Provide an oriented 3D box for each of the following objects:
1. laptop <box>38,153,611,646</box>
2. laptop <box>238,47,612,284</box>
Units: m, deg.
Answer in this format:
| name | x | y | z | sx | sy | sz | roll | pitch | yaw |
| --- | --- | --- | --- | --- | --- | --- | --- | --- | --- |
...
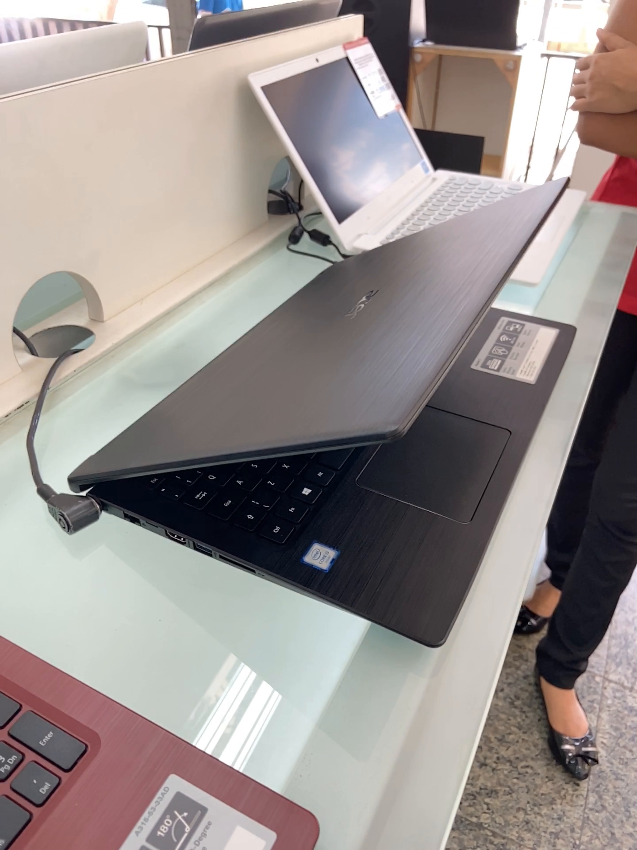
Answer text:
| name | x | y | z | sx | sy | sz | roll | pitch | yaw |
| --- | --- | --- | --- | --- | --- | --- | --- | --- | --- |
| laptop | 0.043 | -0.072 | 0.481 | 0.239 | 0.123 | 0.380 | 18 | 41 | 22 |
| laptop | 0.152 | -0.358 | 0.836 | 0.351 | 0.165 | 0.383 | 16 | 38 | 19 |
